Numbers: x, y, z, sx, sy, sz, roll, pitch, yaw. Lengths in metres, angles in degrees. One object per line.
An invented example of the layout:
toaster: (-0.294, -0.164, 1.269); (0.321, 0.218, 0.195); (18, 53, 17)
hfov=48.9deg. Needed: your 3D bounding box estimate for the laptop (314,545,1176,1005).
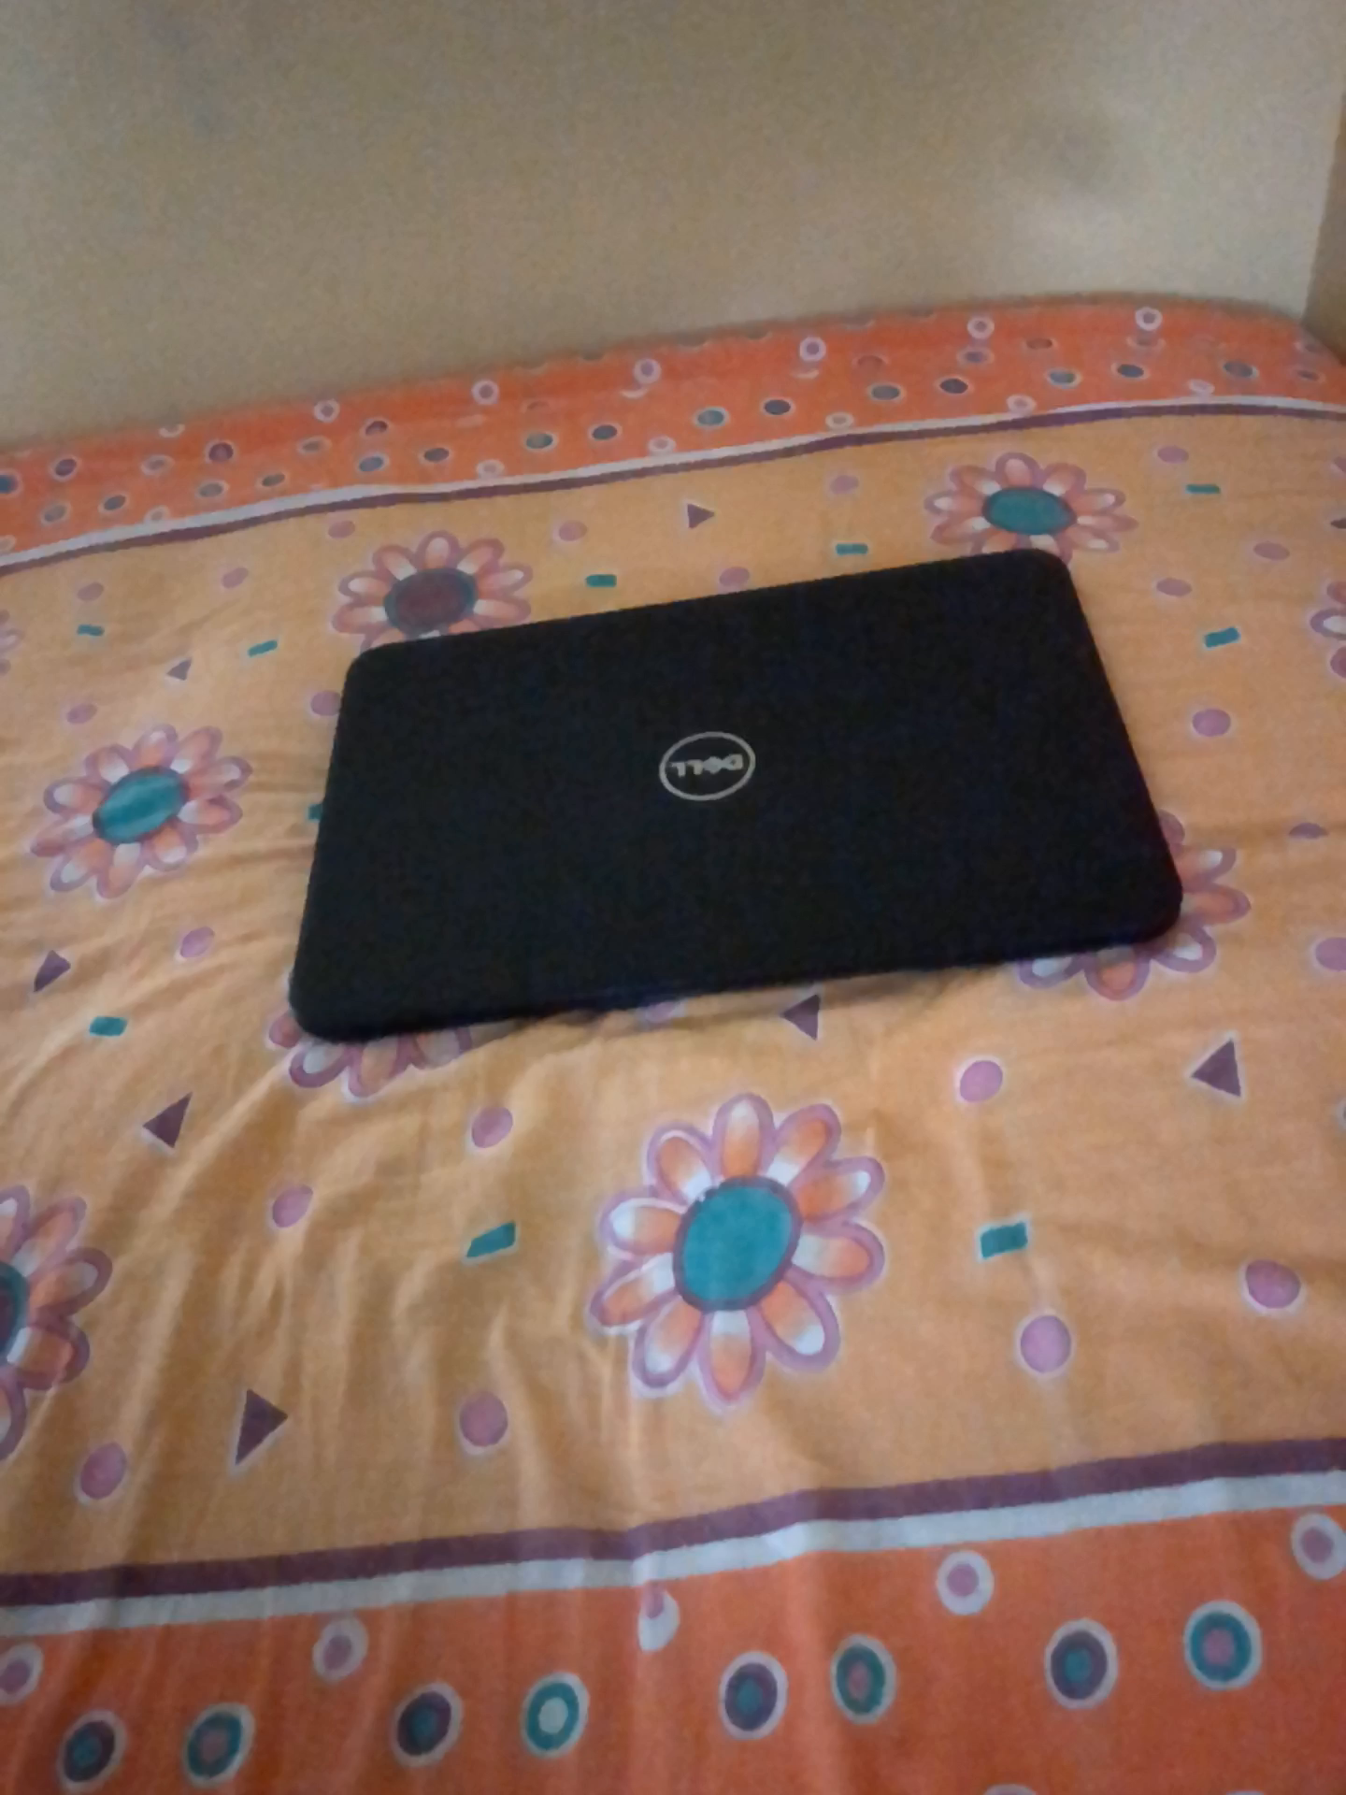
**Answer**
laptop: (0.018, -0.066, 0.688); (0.358, 0.001, 0.236); (-8, 49, 5)
